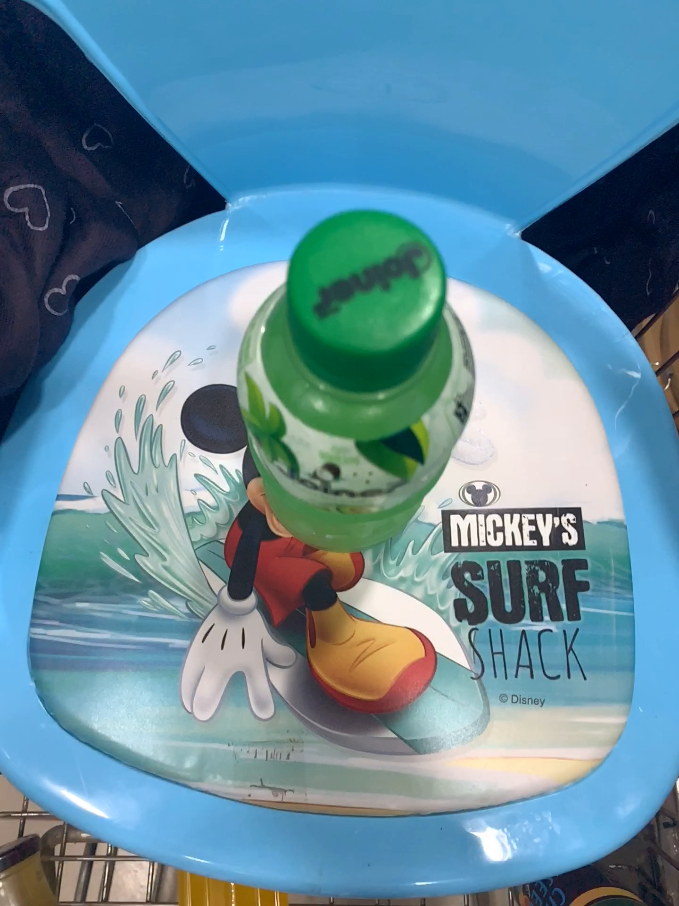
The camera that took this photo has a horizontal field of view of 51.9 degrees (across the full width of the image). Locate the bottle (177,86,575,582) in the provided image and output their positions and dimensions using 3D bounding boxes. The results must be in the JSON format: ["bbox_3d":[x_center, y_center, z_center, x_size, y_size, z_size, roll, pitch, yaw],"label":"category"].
[{"bbox_3d":[0.008,-0.011,0.182,0.060,0.140,0.060,0,70,-1],"label":"bottle"}]
